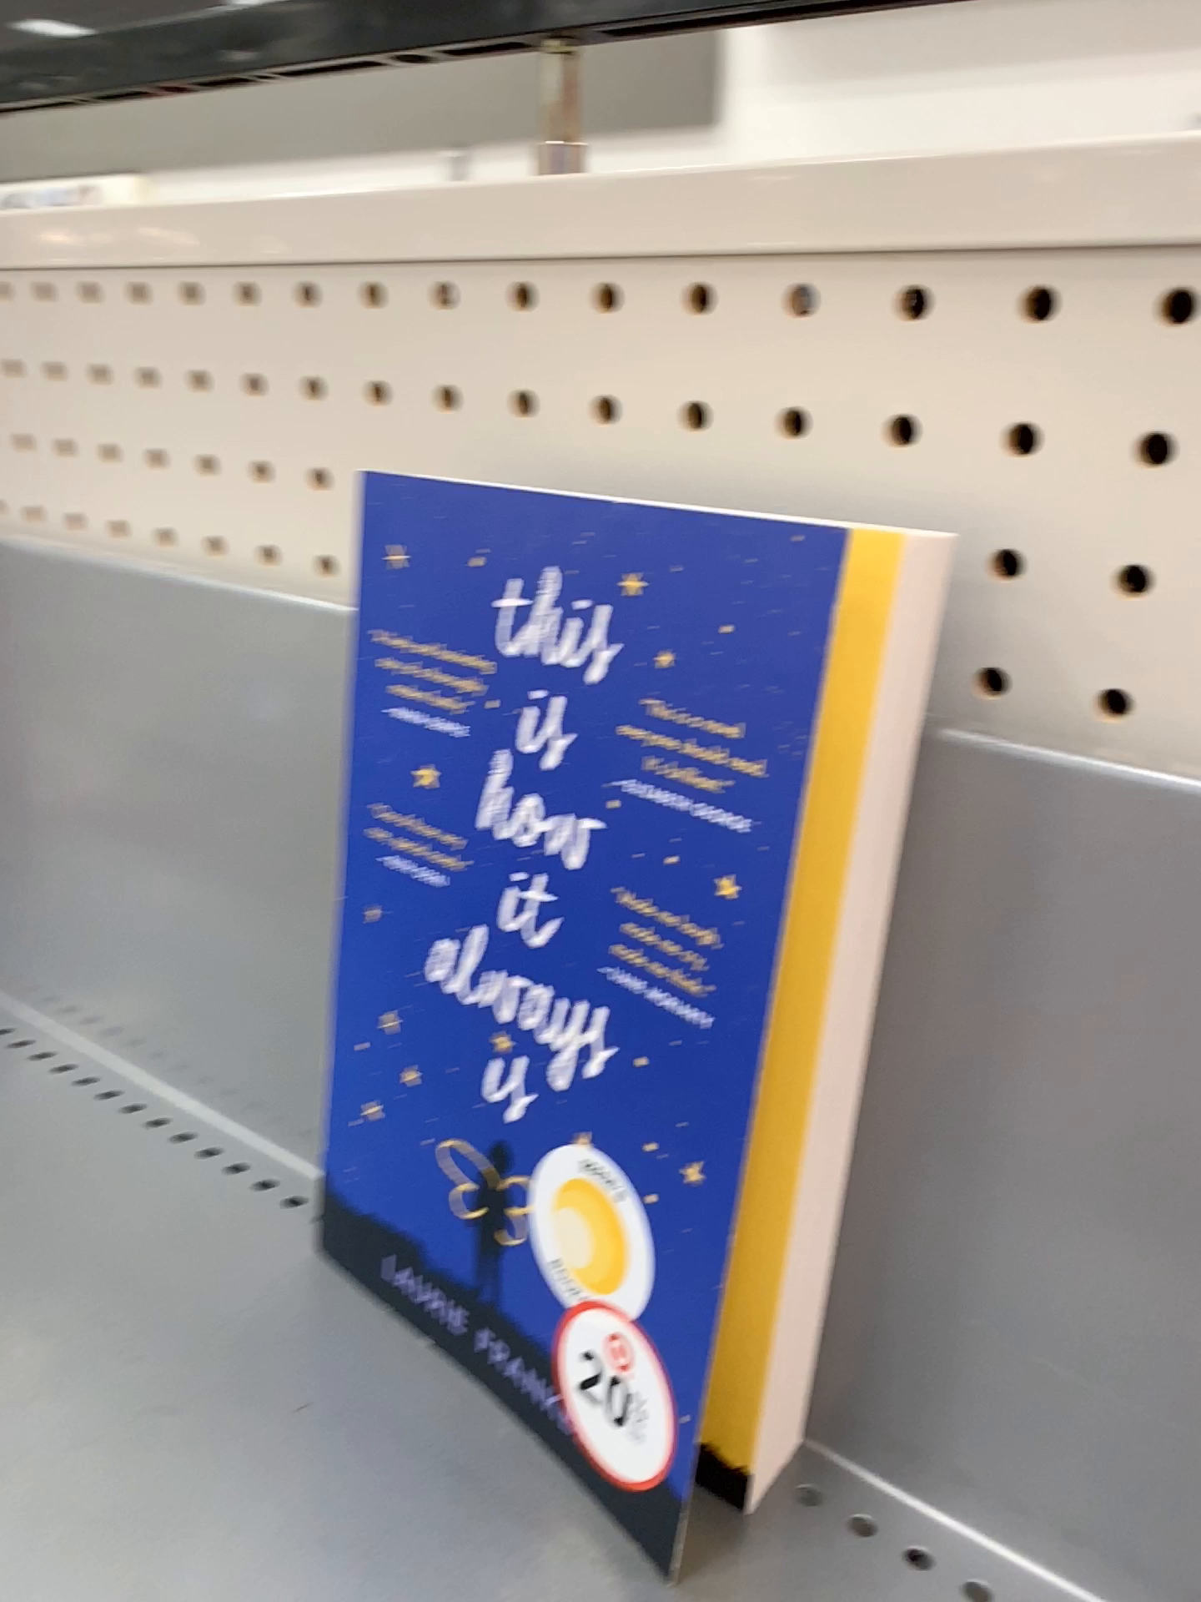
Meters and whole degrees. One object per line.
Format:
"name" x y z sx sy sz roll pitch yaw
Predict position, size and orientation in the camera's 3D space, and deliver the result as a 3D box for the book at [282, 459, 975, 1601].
"book" -0.010 0.038 0.282 0.140 0.209 0.044 21 20 41
